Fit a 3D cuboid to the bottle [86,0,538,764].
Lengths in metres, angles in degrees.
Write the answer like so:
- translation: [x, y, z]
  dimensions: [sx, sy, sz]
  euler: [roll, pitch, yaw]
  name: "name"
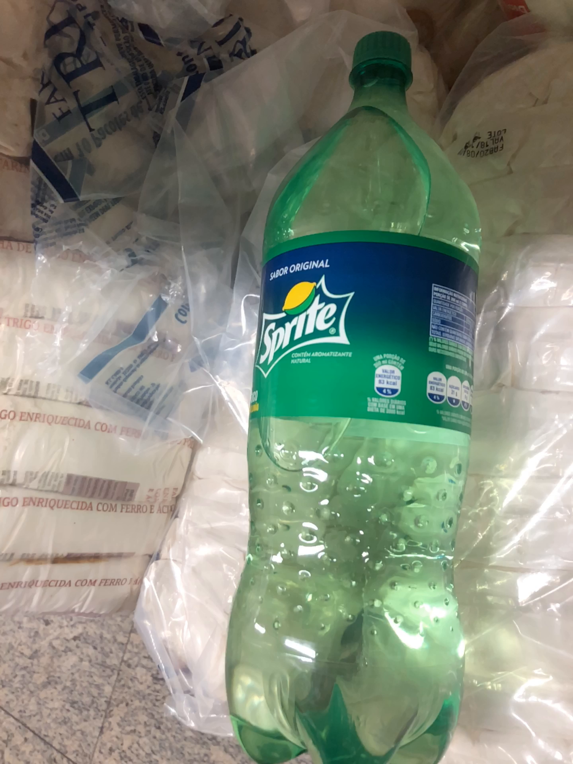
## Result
- translation: [0.034, -0.034, 0.293]
  dimensions: [0.110, 0.109, 0.380]
  euler: [-3, 69, 37]
  name: "bottle"
